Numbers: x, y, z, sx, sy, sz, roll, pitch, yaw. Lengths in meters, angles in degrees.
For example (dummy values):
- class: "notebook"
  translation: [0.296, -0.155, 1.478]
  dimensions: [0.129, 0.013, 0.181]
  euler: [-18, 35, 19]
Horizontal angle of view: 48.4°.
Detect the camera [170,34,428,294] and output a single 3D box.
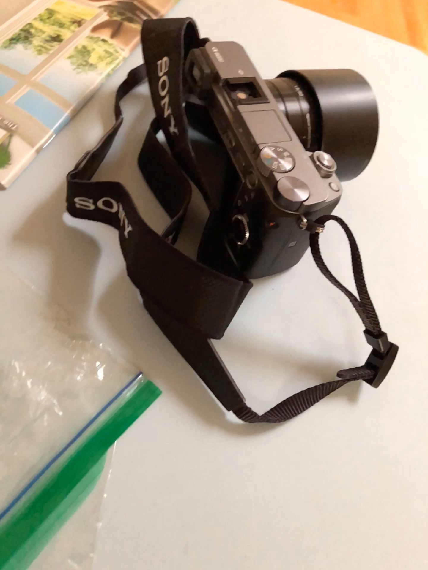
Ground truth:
- class: "camera"
  translation: [0.051, -0.077, 0.287]
  dimensions: [0.110, 0.070, 0.130]
  euler: [-11, 62, -23]
